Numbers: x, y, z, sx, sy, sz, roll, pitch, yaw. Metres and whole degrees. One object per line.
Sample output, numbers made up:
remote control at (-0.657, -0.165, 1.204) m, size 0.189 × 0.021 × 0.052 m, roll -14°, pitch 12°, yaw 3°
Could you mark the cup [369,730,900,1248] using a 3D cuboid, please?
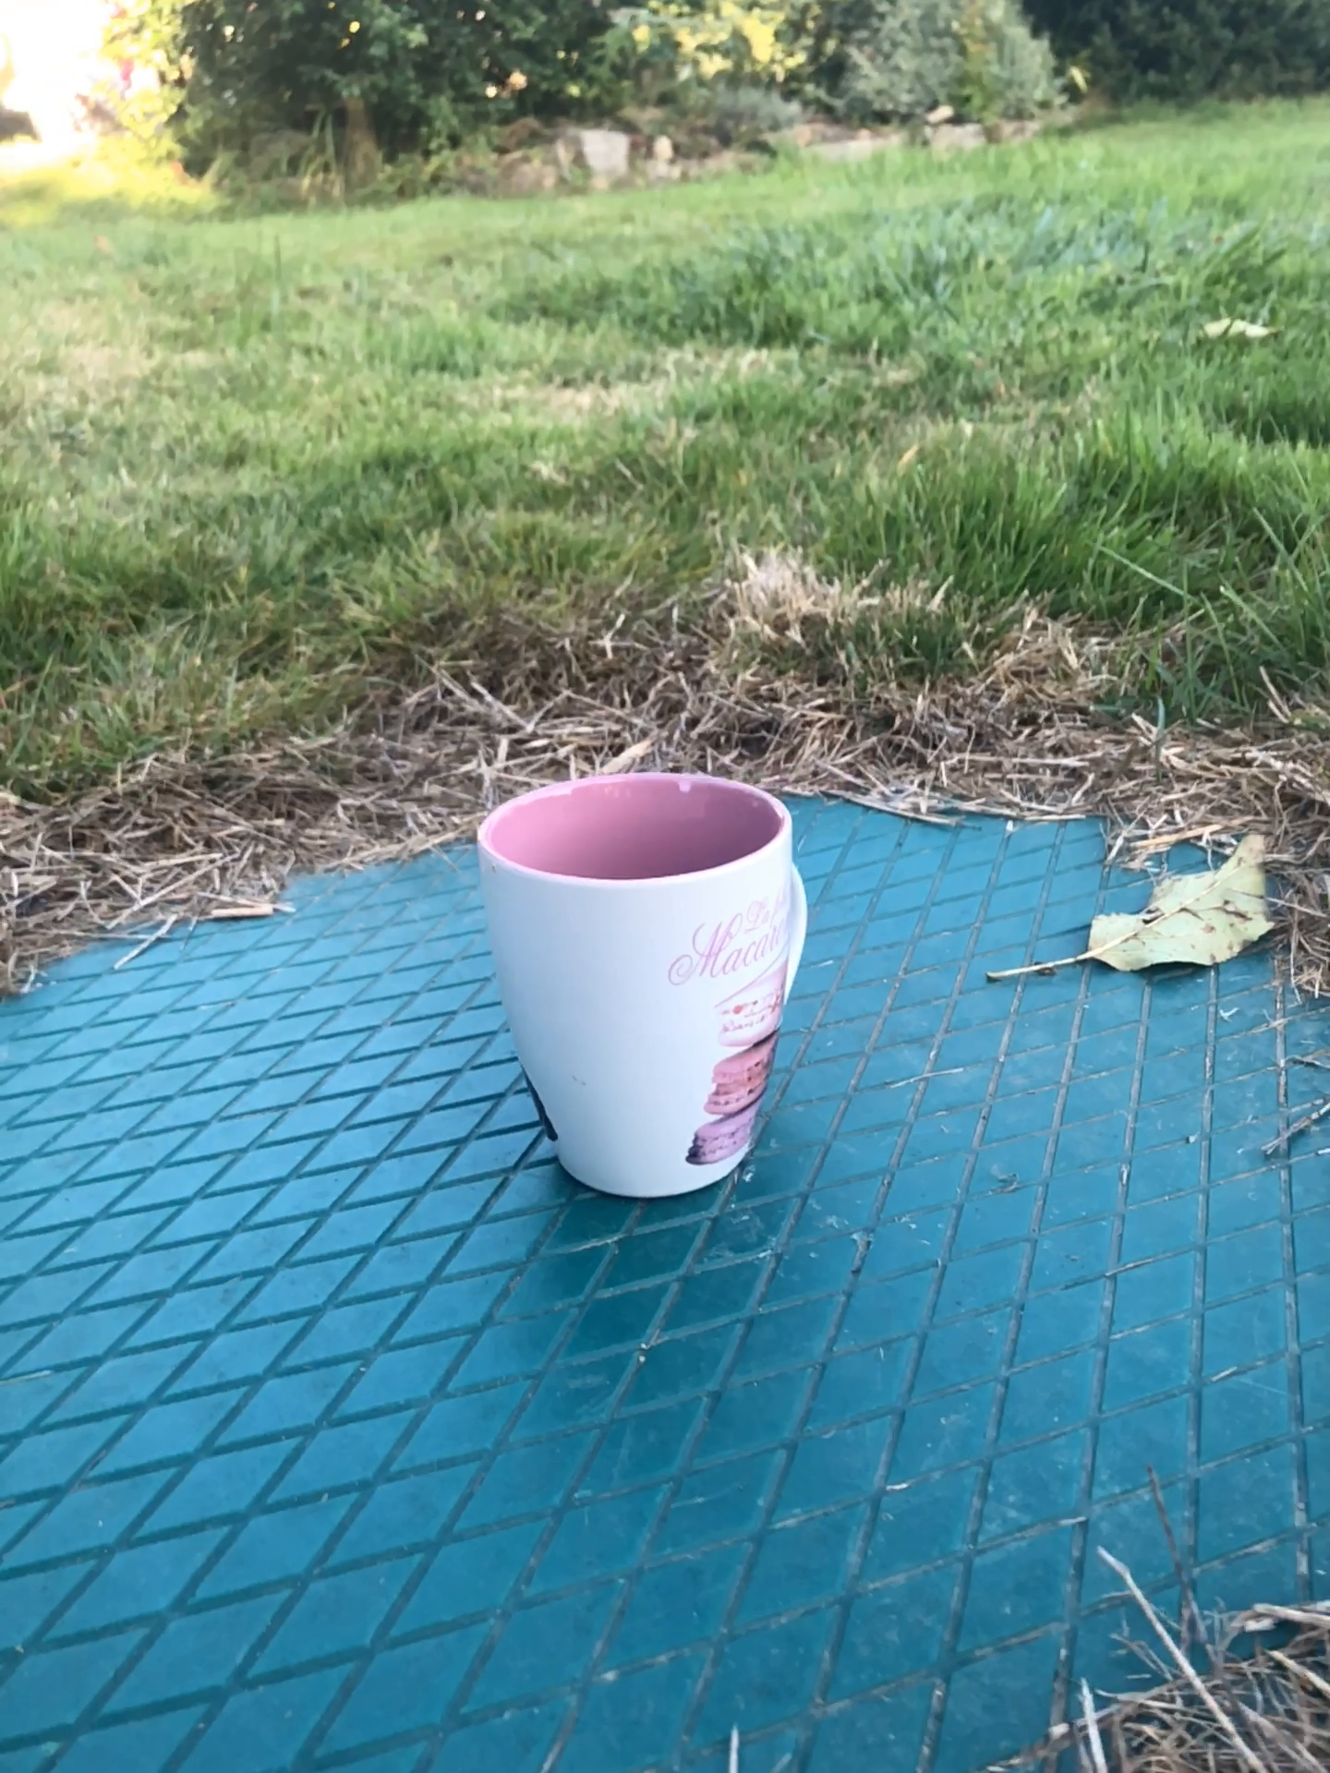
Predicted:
cup at (-0.003, 0.021, 0.433) m, size 0.095 × 0.091 × 0.121 m, roll 14°, pitch 30°, yaw 36°
